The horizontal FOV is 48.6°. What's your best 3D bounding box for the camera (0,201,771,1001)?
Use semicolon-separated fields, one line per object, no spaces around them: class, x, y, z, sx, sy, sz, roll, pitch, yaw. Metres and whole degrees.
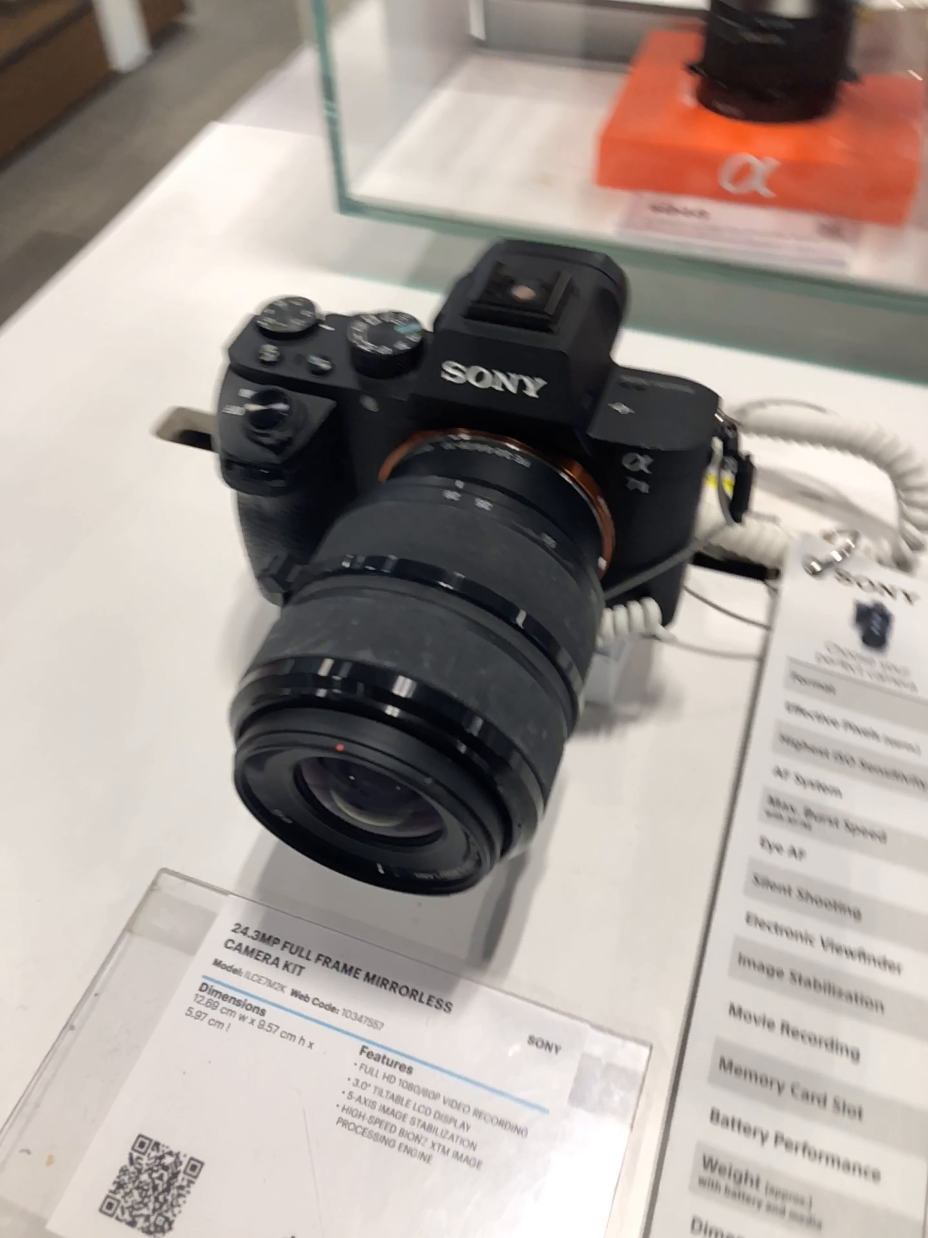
camera;-0.011;-0.013;0.242;0.130;0.089;0.141;12;52;13
